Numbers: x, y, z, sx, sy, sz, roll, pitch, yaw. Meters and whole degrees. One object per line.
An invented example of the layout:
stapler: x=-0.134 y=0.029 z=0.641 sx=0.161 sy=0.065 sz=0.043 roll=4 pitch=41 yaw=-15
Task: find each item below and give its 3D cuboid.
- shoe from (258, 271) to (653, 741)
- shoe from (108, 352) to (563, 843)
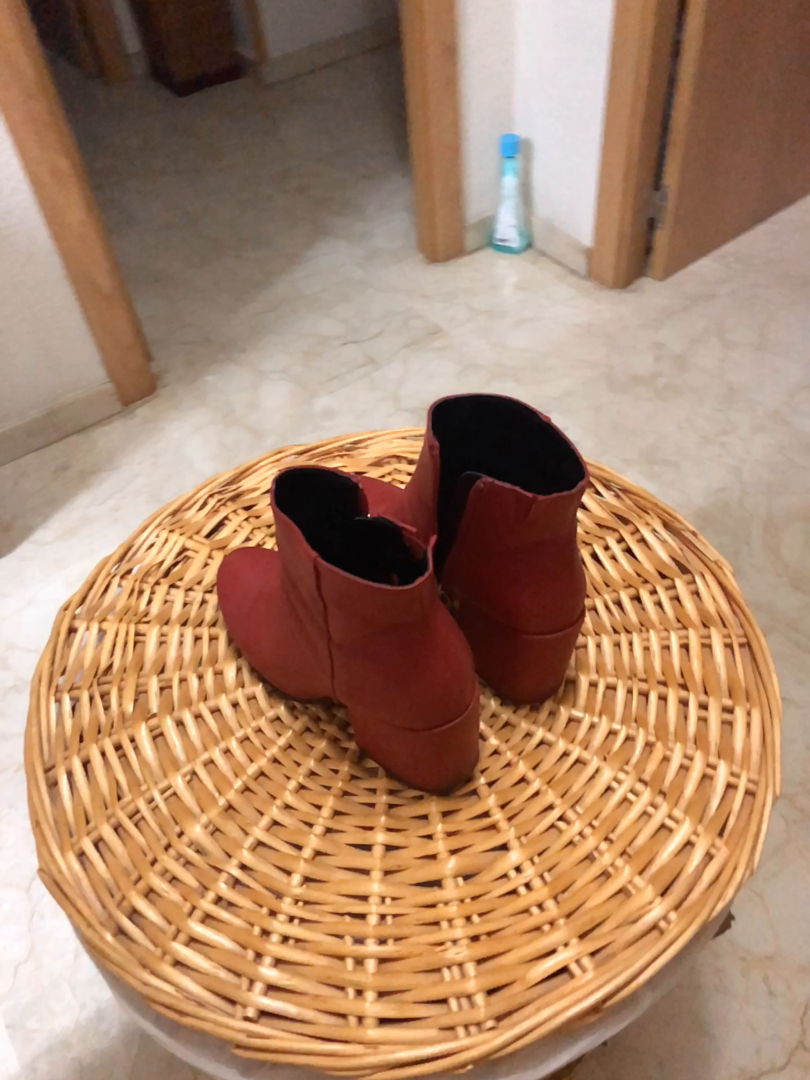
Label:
shoe: x=0.025 y=-0.027 z=0.587 sx=0.099 sy=0.184 sz=0.245 roll=-31 pitch=52 yaw=-20
shoe: x=-0.039 y=0.031 z=0.539 sx=0.245 sy=0.184 sz=0.099 roll=33 pitch=59 yaw=30
